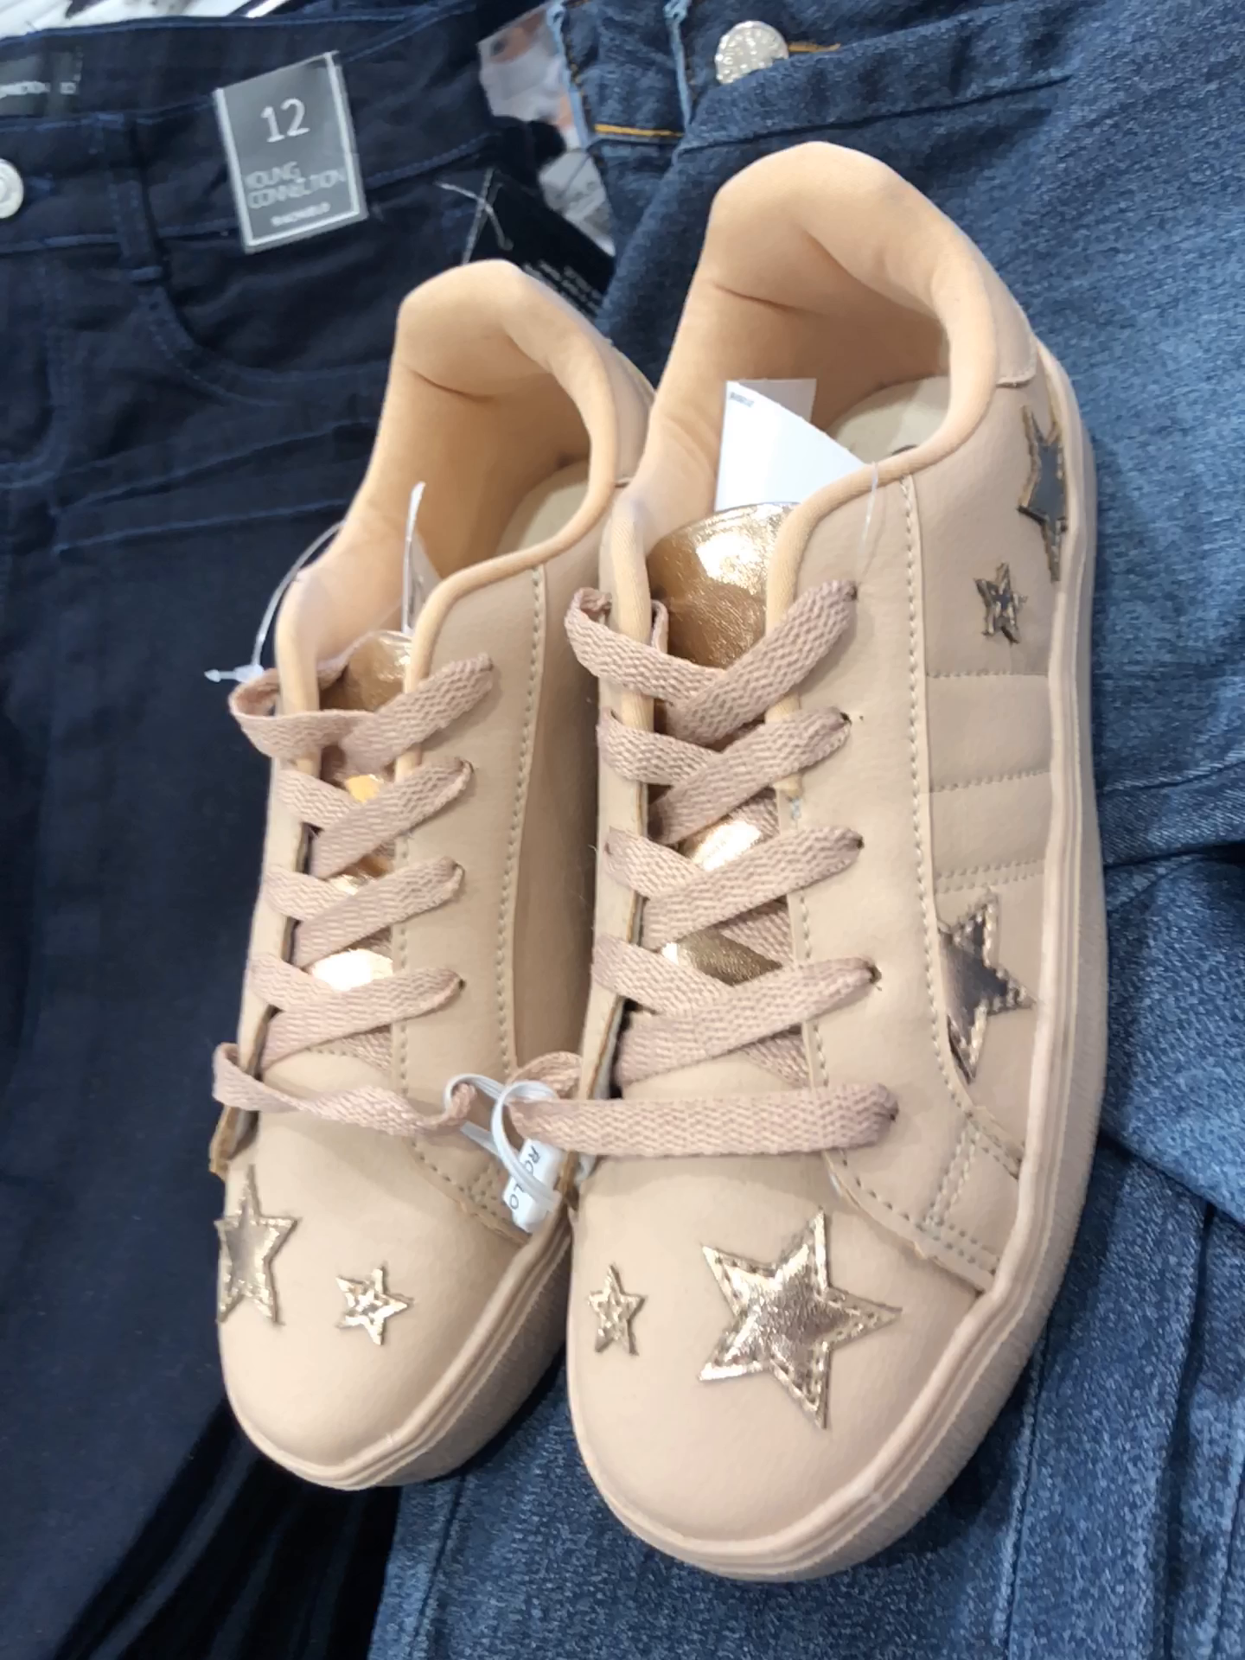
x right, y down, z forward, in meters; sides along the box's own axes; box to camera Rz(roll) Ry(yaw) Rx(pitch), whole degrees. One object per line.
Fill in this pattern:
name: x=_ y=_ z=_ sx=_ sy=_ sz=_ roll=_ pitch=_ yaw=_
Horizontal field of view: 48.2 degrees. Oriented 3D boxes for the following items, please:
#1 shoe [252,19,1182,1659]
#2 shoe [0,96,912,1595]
shoe: x=0.035 y=-0.002 z=0.245 sx=0.090 sy=0.089 sz=0.251 roll=-5 pitch=62 yaw=35
shoe: x=-0.022 y=-0.001 z=0.281 sx=0.090 sy=0.090 sz=0.250 roll=1 pitch=71 yaw=38
